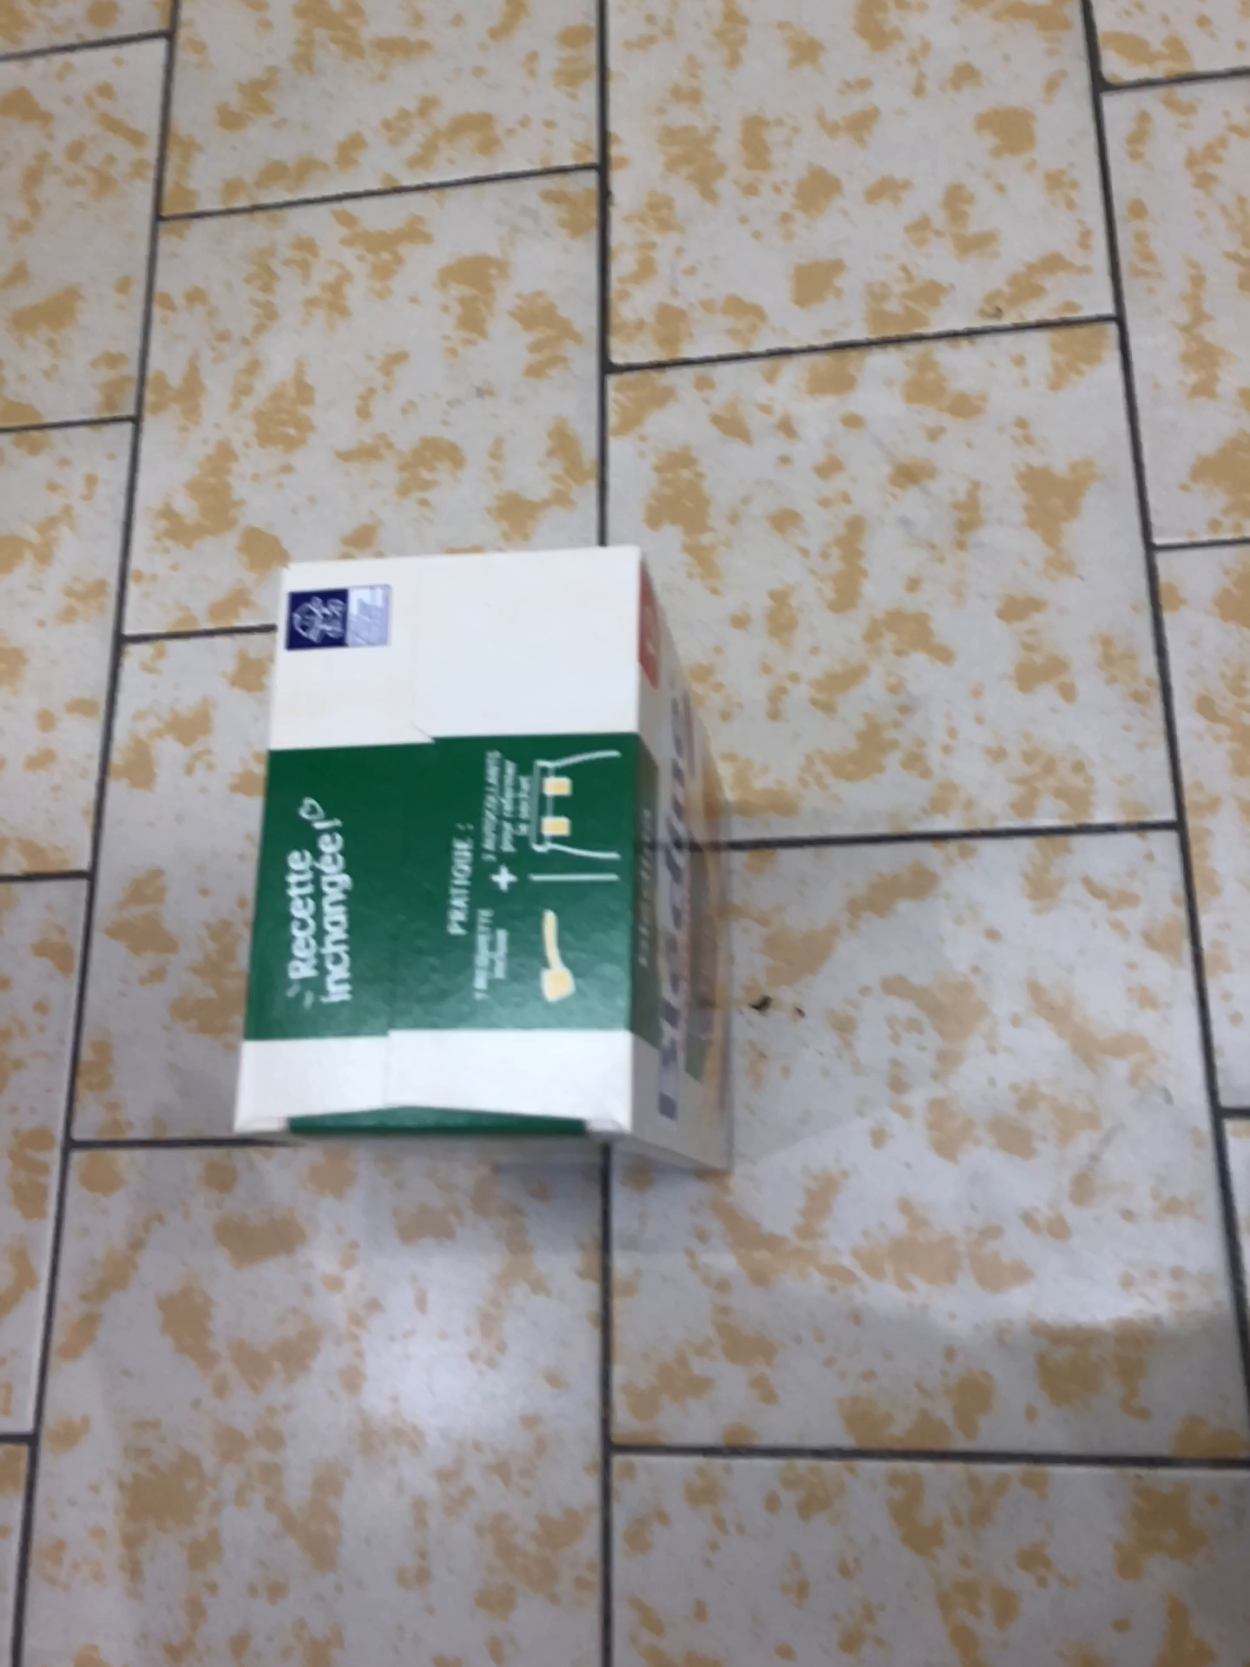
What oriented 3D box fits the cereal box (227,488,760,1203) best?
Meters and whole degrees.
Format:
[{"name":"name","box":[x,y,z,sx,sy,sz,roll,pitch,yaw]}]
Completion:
[{"name":"cereal box","box":[-0.014,0.021,0.332,0.080,0.180,0.130,-1,75,9]}]
